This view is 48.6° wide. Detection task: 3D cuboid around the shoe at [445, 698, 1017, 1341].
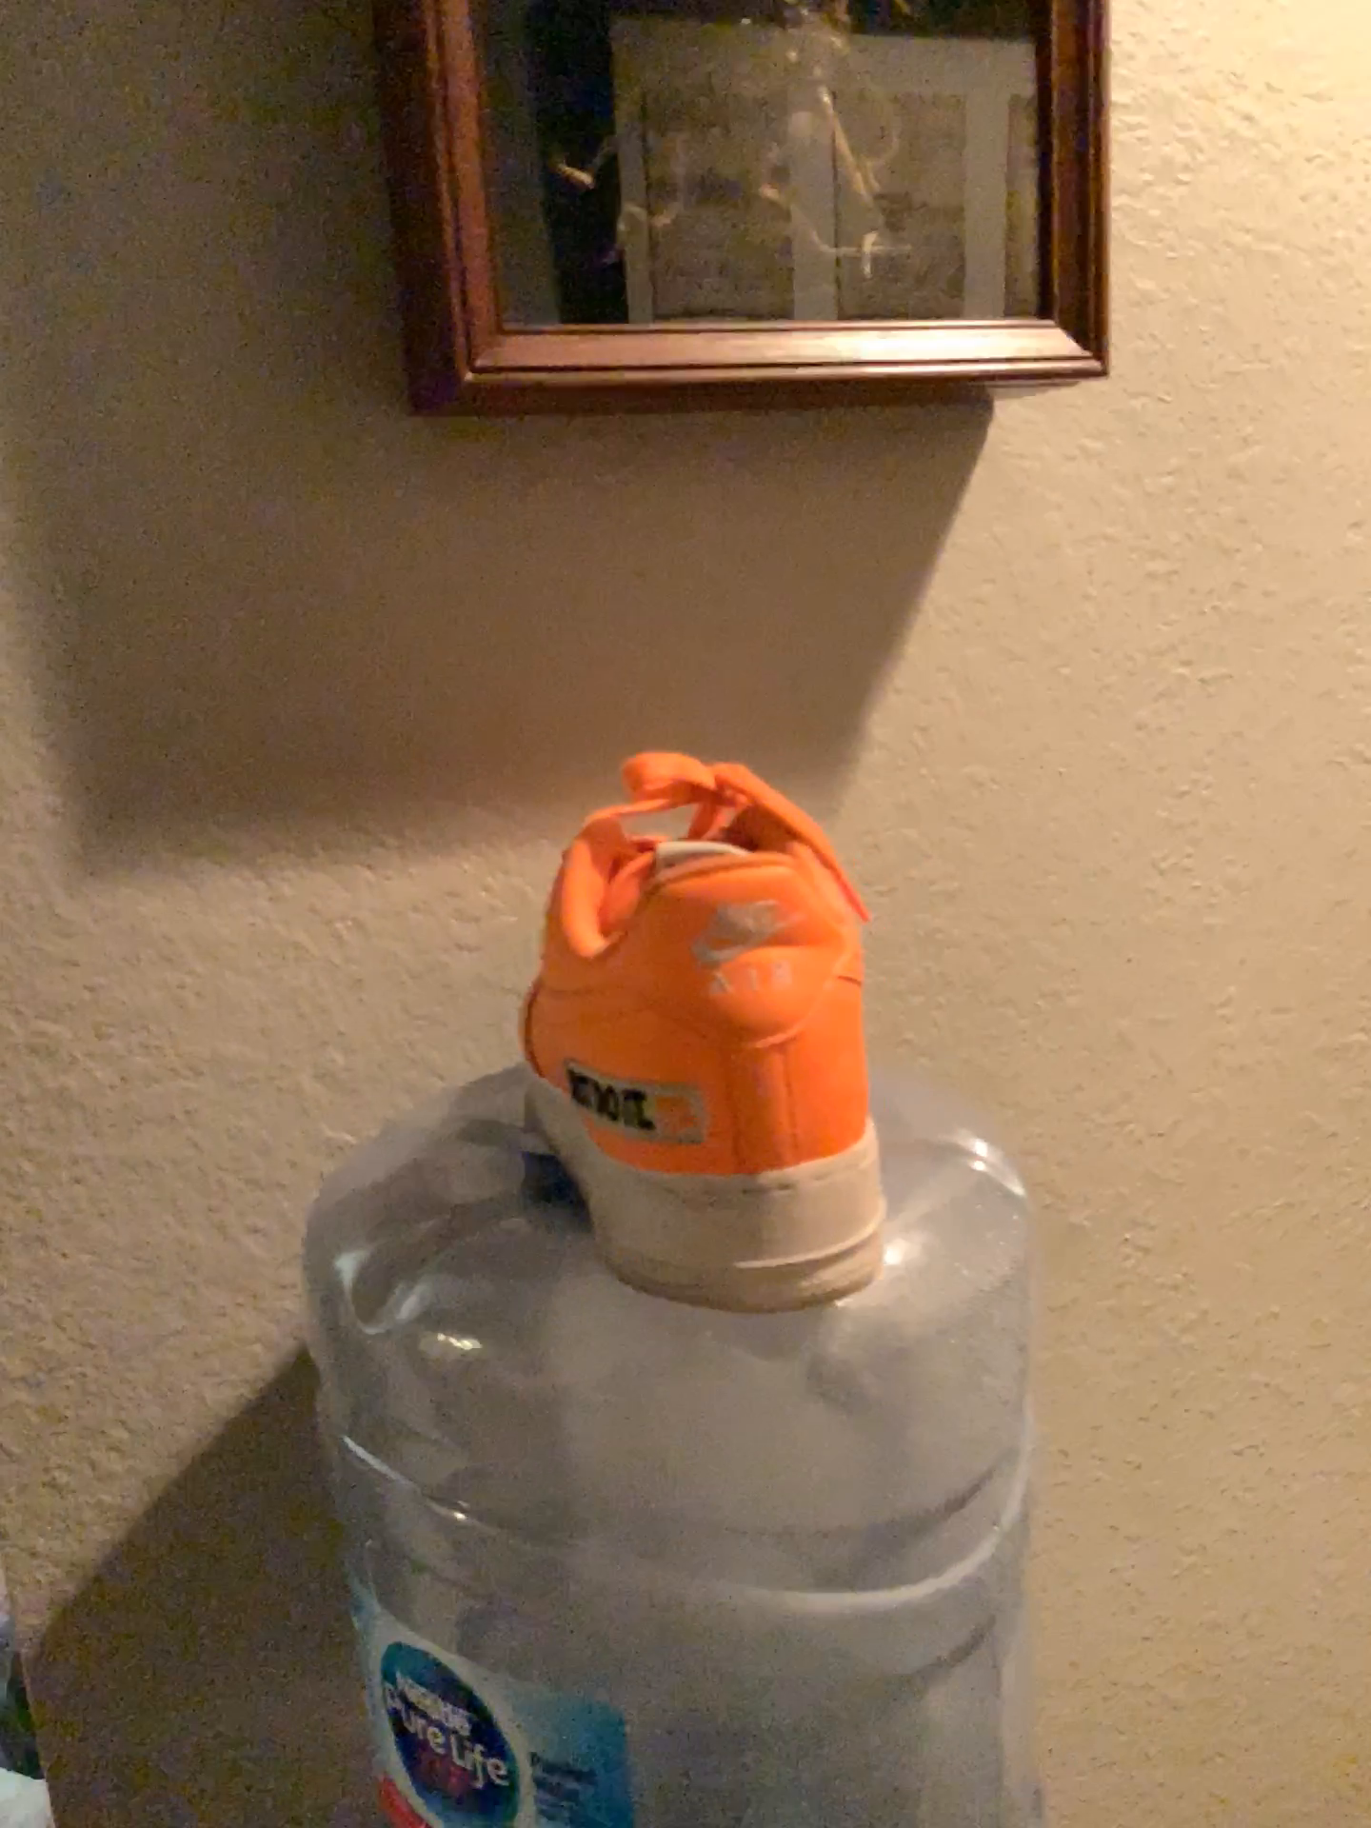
[{"bbox_3d":[-0.006,0.007,0.530,0.120,0.140,0.300,-7,12,-11],"label":"shoe"}]
